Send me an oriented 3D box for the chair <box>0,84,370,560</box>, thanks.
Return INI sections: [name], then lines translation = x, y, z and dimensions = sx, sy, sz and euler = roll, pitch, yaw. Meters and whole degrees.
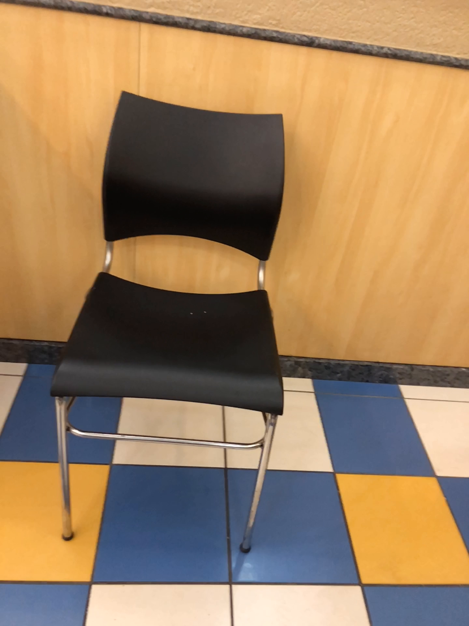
[chair]
translation = -0.126, 0.046, 1.168
dimensions = 0.510, 0.873, 0.554
euler = 6, 36, -5
